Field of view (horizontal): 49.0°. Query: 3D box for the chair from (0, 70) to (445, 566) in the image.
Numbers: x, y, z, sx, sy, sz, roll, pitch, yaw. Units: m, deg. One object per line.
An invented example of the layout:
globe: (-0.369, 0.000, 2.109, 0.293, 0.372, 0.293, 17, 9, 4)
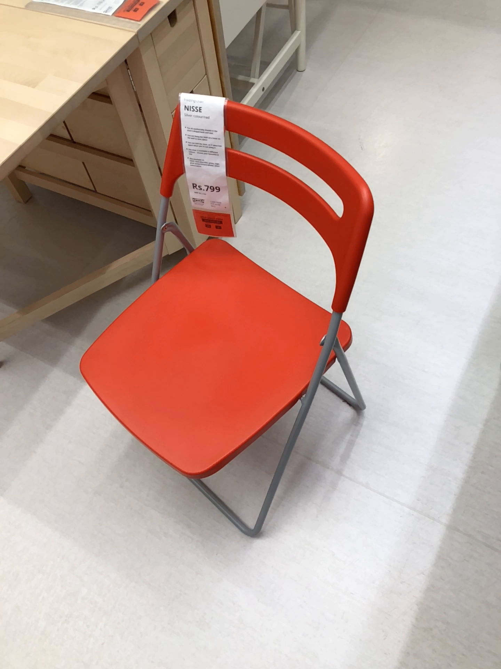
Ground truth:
chair: (-0.045, 0.005, 0.987, 0.451, 0.607, 0.491, 36, 69, 25)
